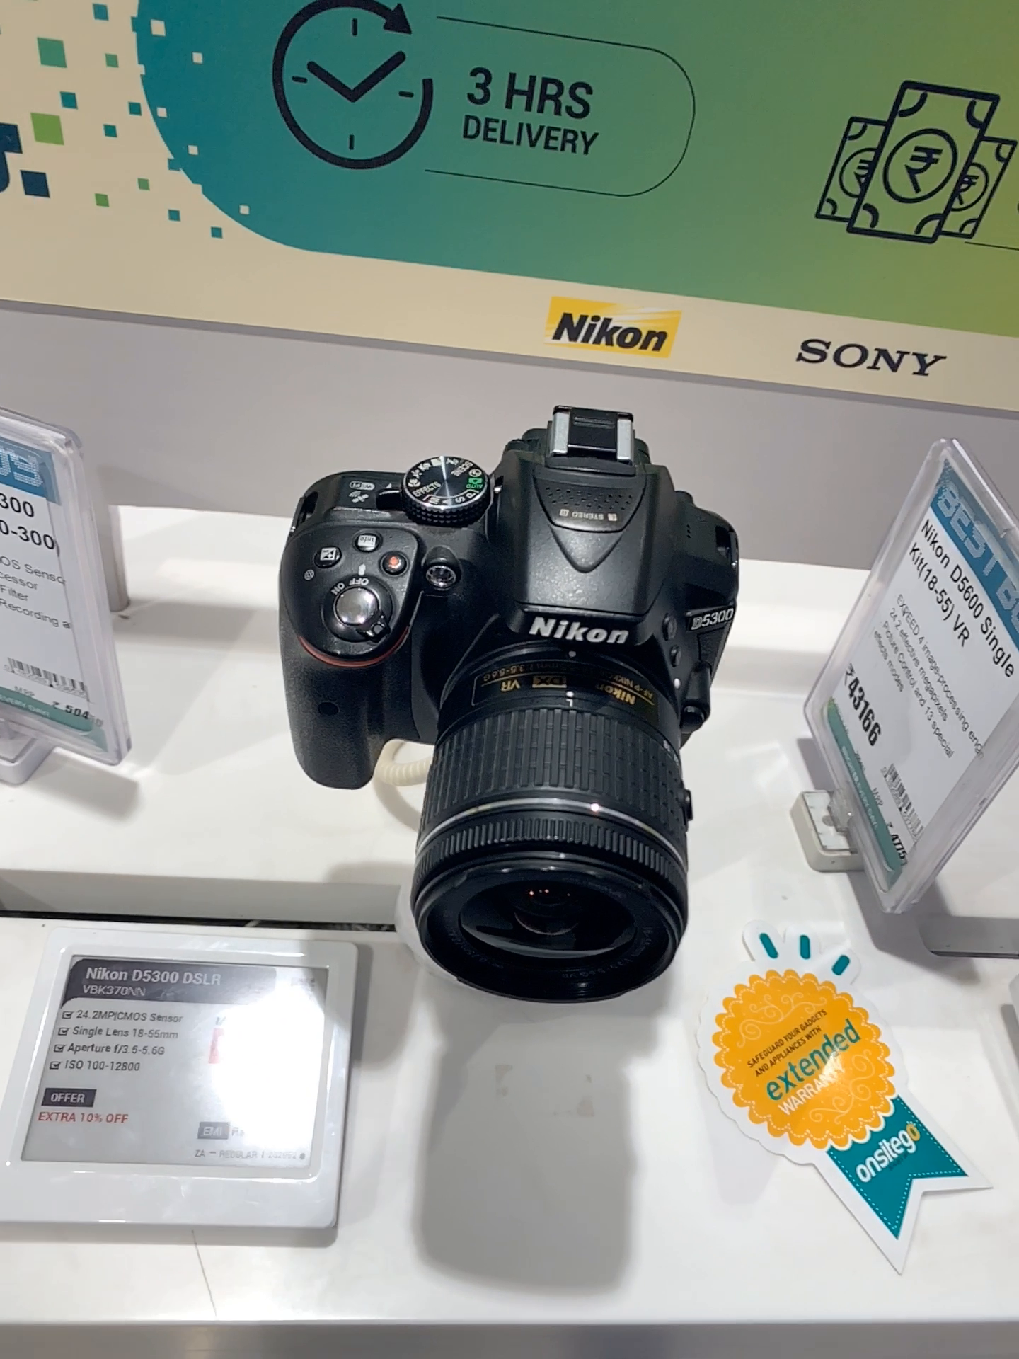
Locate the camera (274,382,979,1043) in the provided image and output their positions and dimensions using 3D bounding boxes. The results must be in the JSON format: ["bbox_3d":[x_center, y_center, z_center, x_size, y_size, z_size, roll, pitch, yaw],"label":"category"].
[{"bbox_3d":[0.014,0.006,0.244,0.118,0.082,0.123,4,45,-7],"label":"camera"}]
